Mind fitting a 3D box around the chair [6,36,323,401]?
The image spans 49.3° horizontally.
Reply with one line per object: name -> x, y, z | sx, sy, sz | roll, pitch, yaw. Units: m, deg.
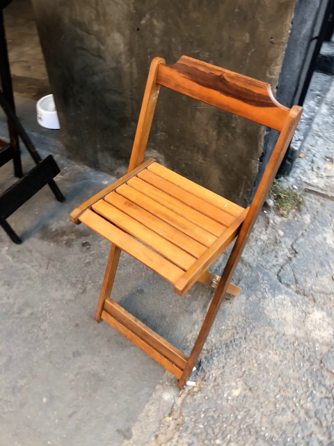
chair -> 0.006, 0.018, 1.093 | 0.481, 0.854, 0.502 | 29, 52, 24
